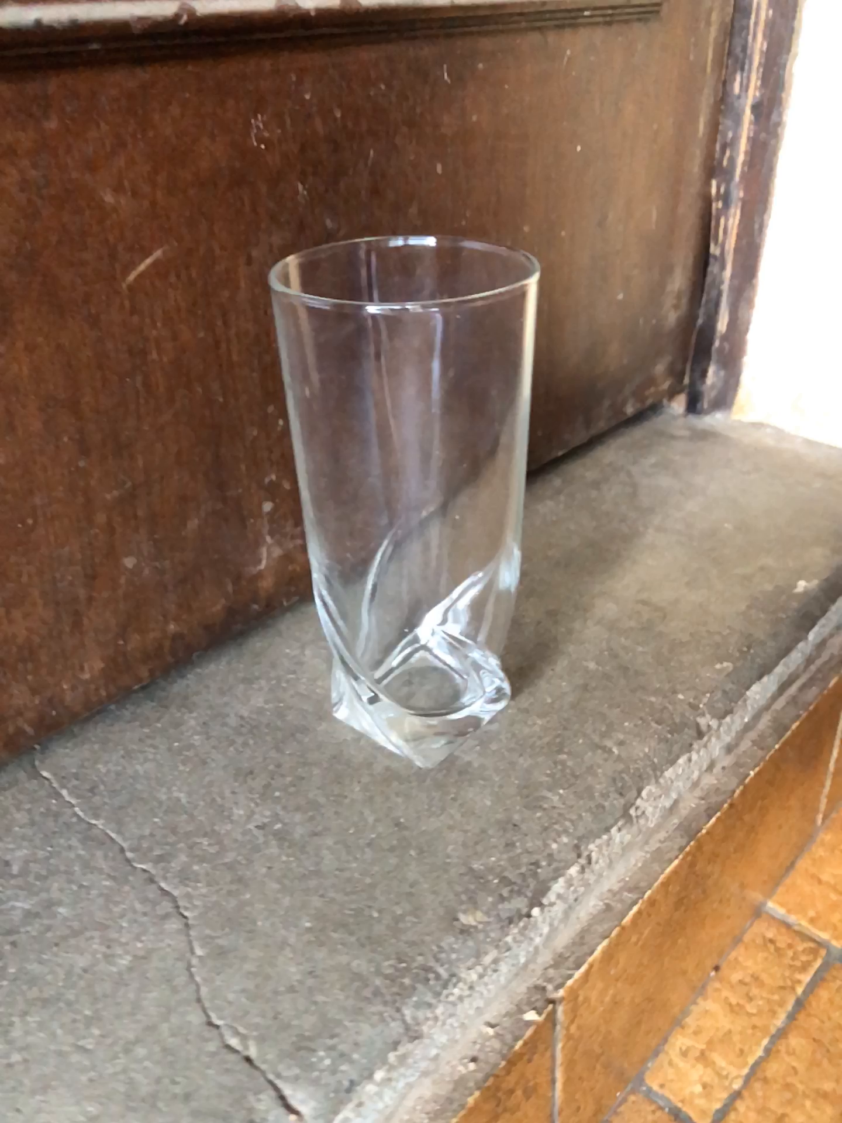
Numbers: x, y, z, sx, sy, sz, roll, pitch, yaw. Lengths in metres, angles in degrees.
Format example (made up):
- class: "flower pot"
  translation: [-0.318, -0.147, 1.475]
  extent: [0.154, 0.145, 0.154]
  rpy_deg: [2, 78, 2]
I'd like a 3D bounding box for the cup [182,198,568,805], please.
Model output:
- class: "cup"
  translation: [-0.008, -0.018, 0.258]
  extent: [0.060, 0.139, 0.070]
  rpy_deg: [22, 38, 34]
